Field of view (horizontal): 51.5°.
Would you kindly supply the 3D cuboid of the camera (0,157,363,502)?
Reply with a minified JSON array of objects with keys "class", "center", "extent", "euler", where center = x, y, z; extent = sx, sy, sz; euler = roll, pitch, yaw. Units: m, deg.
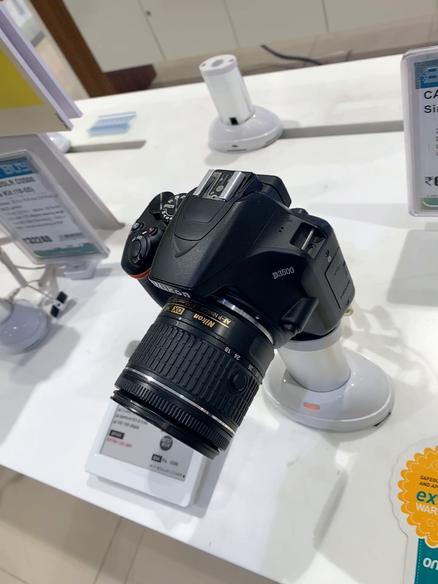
[{"class":"camera","center":[-0.010,0.011,0.212],"extent":[0.110,0.090,0.103],"euler":[17,63,34]}]
